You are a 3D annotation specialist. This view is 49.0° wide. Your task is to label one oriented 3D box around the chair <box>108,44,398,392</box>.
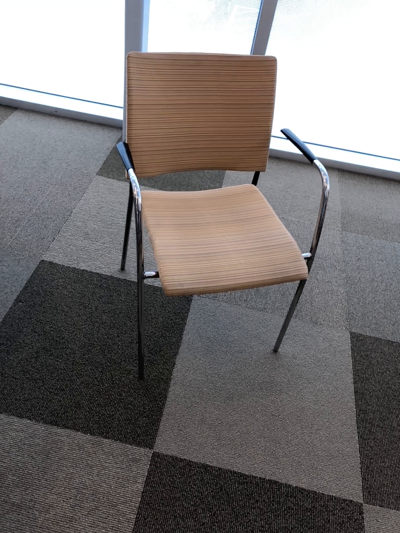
[{"bbox_3d":[0.038,-0.126,1.296,0.516,0.796,0.548,-7,47,-18],"label":"chair"}]
